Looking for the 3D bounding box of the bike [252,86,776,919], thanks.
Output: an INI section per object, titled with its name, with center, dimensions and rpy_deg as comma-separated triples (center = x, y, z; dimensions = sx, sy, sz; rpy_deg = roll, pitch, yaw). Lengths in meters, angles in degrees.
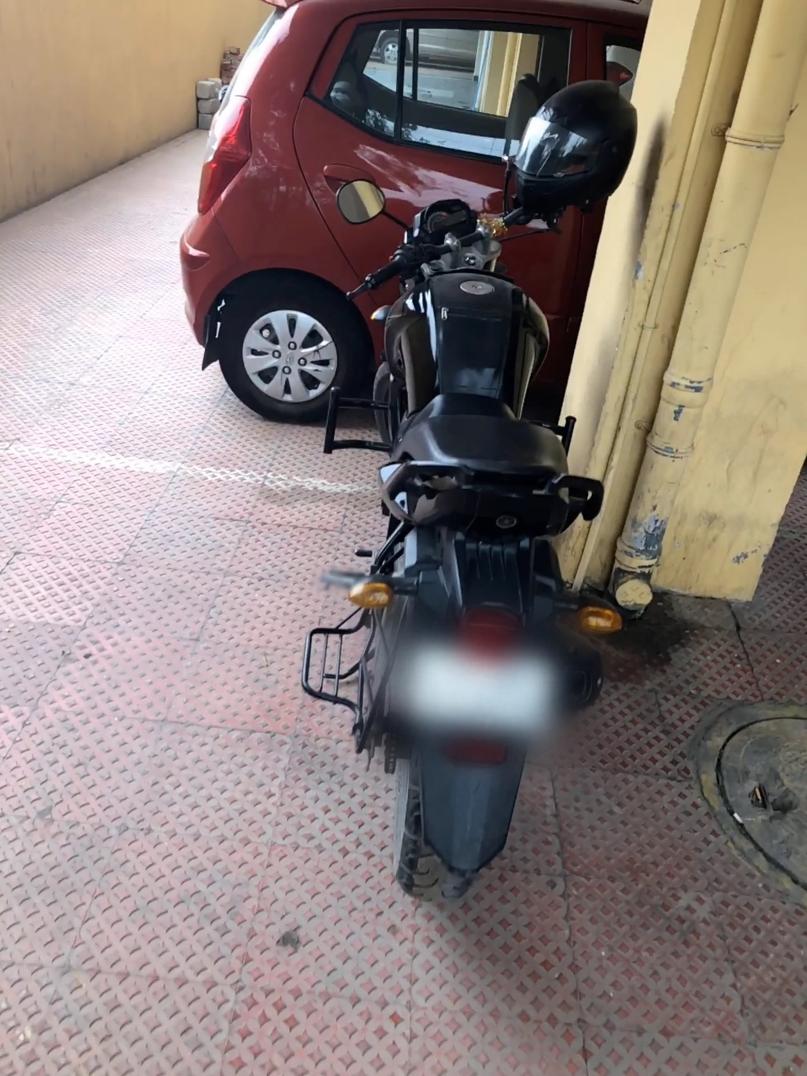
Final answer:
[bike]
center = 0.000, -0.294, 2.061
dimensions = 0.609, 1.051, 1.810
rpy_deg = 2, 34, -8
